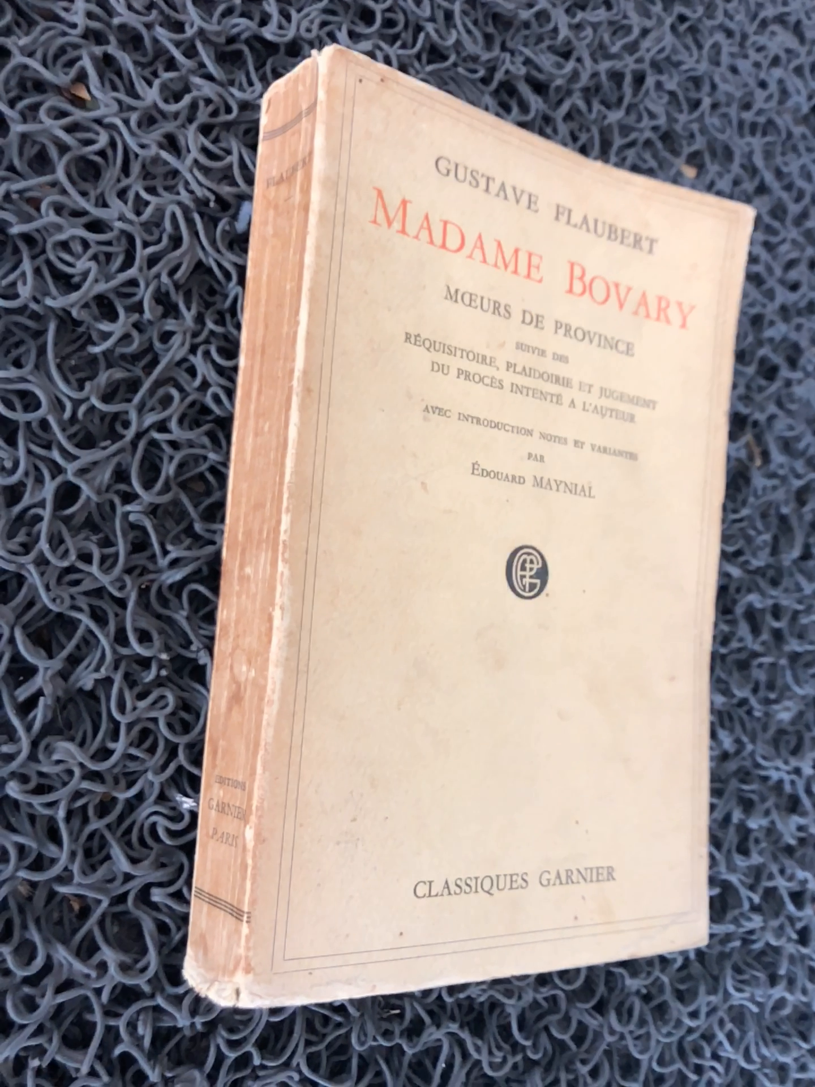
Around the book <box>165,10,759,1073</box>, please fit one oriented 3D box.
[{"bbox_3d":[0.022,0.001,0.201,0.124,0.035,0.180,8,80,-32],"label":"book"}]
